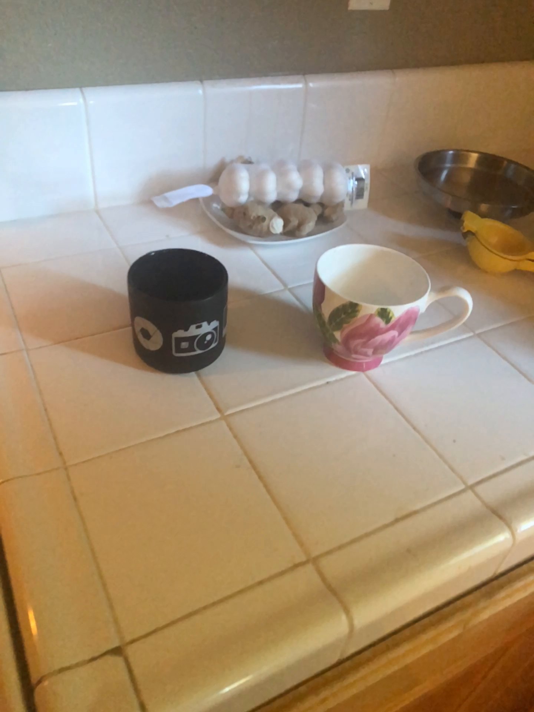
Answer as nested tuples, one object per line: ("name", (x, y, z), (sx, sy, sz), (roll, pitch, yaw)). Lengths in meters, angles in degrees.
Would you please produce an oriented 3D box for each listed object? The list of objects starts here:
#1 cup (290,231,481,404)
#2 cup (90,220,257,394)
("cup", (0.113, -0.040, 0.566), (0.150, 0.089, 0.101), (16, 42, 10))
("cup", (-0.091, -0.053, 0.563), (0.100, 0.079, 0.141), (-20, 48, -27))
